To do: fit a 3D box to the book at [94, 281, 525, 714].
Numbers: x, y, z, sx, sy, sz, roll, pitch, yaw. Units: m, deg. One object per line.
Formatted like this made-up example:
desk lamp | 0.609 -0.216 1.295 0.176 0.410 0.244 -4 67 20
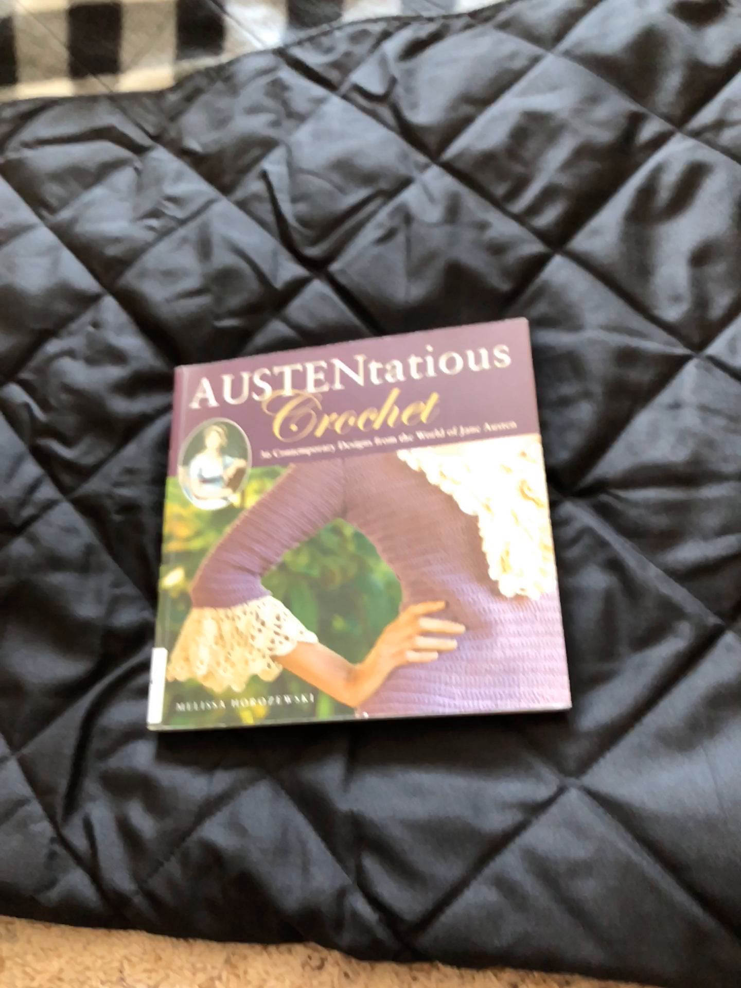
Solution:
book | -0.036 -0.002 0.461 0.220 0.020 0.230 -7 65 12
